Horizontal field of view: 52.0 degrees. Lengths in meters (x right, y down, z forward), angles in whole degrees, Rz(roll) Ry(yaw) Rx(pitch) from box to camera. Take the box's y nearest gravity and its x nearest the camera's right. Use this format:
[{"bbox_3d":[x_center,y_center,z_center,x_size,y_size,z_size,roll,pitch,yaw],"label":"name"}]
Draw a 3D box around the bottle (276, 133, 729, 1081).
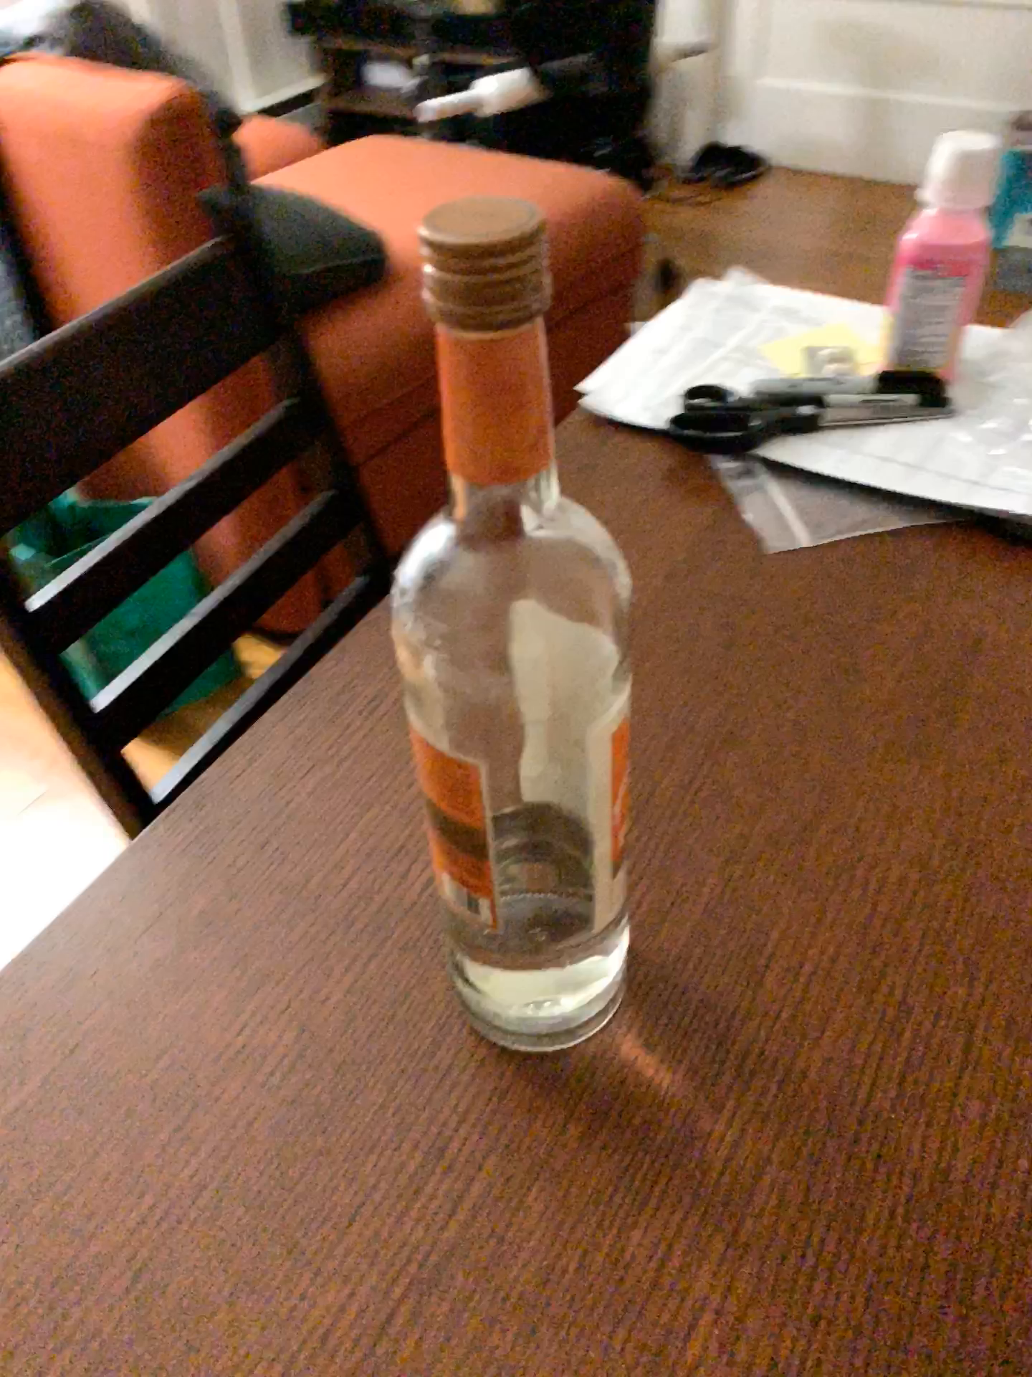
[{"bbox_3d":[0.000,0.002,0.339,0.080,0.298,0.091,-14,44,-10],"label":"bottle"}]
